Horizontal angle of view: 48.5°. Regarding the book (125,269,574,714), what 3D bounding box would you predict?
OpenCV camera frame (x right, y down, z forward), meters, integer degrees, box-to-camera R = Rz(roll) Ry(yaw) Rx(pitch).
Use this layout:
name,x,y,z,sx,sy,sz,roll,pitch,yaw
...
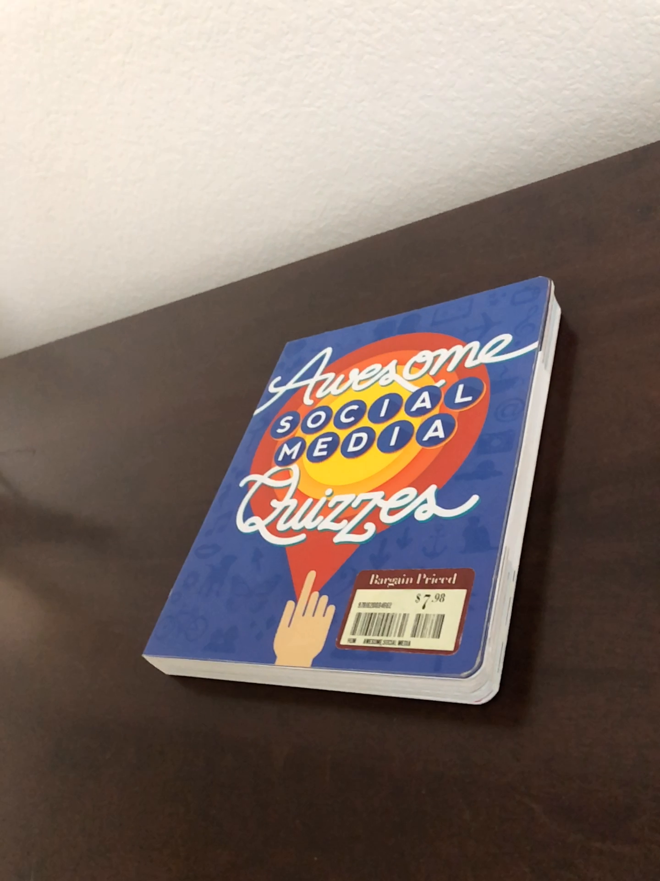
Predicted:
name,x,y,z,sx,sy,sz,roll,pitch,yaw
book,0.013,0.014,0.337,0.172,0.020,0.201,-9,46,36
